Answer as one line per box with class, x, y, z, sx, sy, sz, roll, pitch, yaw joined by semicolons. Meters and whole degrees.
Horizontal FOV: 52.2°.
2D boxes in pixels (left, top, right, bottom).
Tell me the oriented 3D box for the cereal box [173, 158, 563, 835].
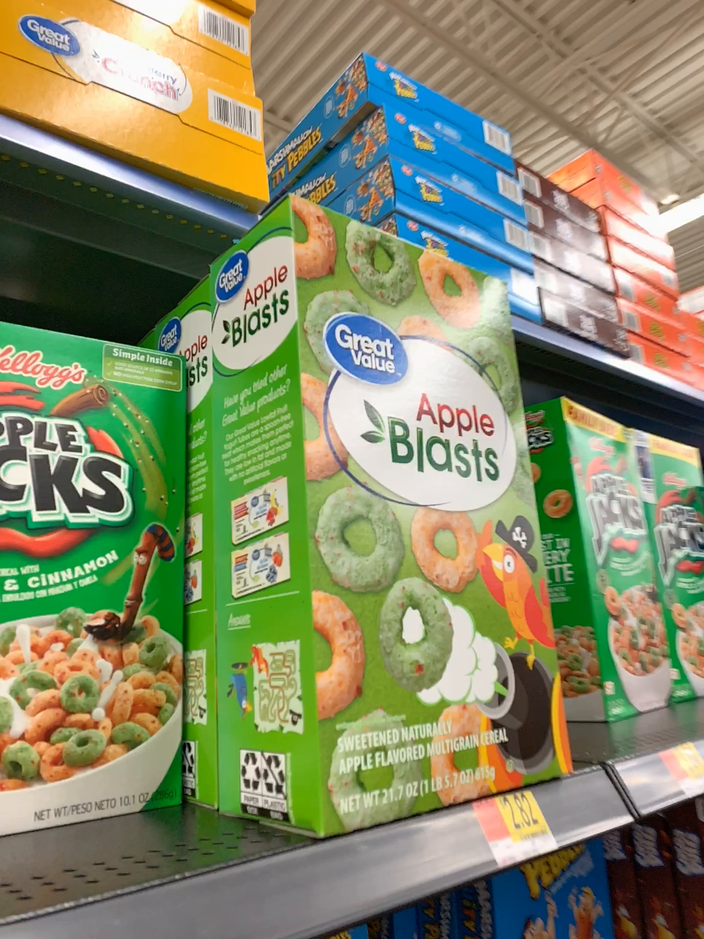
cereal box;0.006;0.015;0.441;0.200;0.331;0.100;9;-20;-39
